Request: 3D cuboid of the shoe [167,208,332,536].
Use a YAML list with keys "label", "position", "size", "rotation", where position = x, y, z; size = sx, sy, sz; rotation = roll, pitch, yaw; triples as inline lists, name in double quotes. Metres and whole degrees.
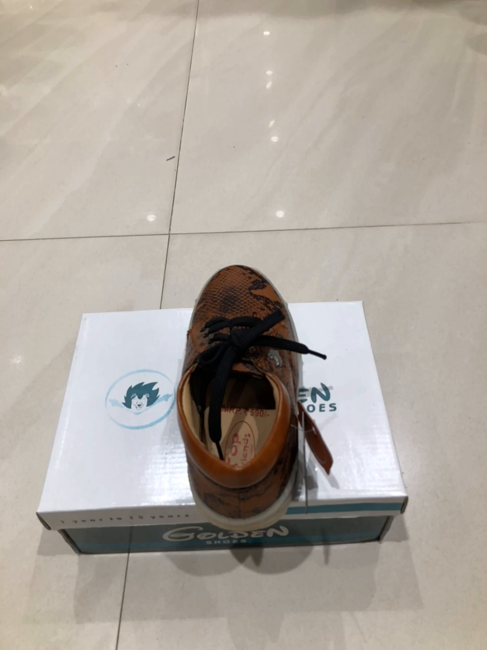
- label: "shoe"
  position: [0.004, 0.022, 0.358]
  size: [0.080, 0.089, 0.201]
  rotation: [-2, 50, 1]
